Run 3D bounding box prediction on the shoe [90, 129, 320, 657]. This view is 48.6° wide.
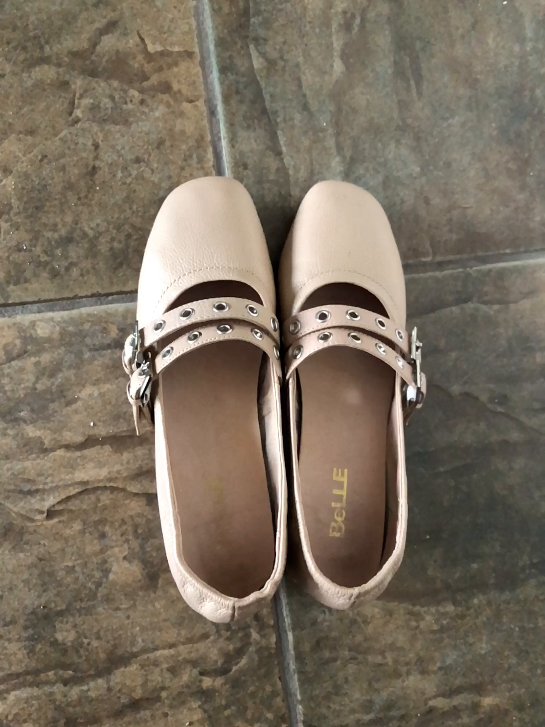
[{"bbox_3d":[-0.039,0.012,0.338,0.100,0.090,0.250,-3,89,-10],"label":"shoe"}]

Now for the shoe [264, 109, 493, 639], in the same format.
[{"bbox_3d":[0.053,0.006,0.336,0.090,0.090,0.250,3,88,-10],"label":"shoe"}]
